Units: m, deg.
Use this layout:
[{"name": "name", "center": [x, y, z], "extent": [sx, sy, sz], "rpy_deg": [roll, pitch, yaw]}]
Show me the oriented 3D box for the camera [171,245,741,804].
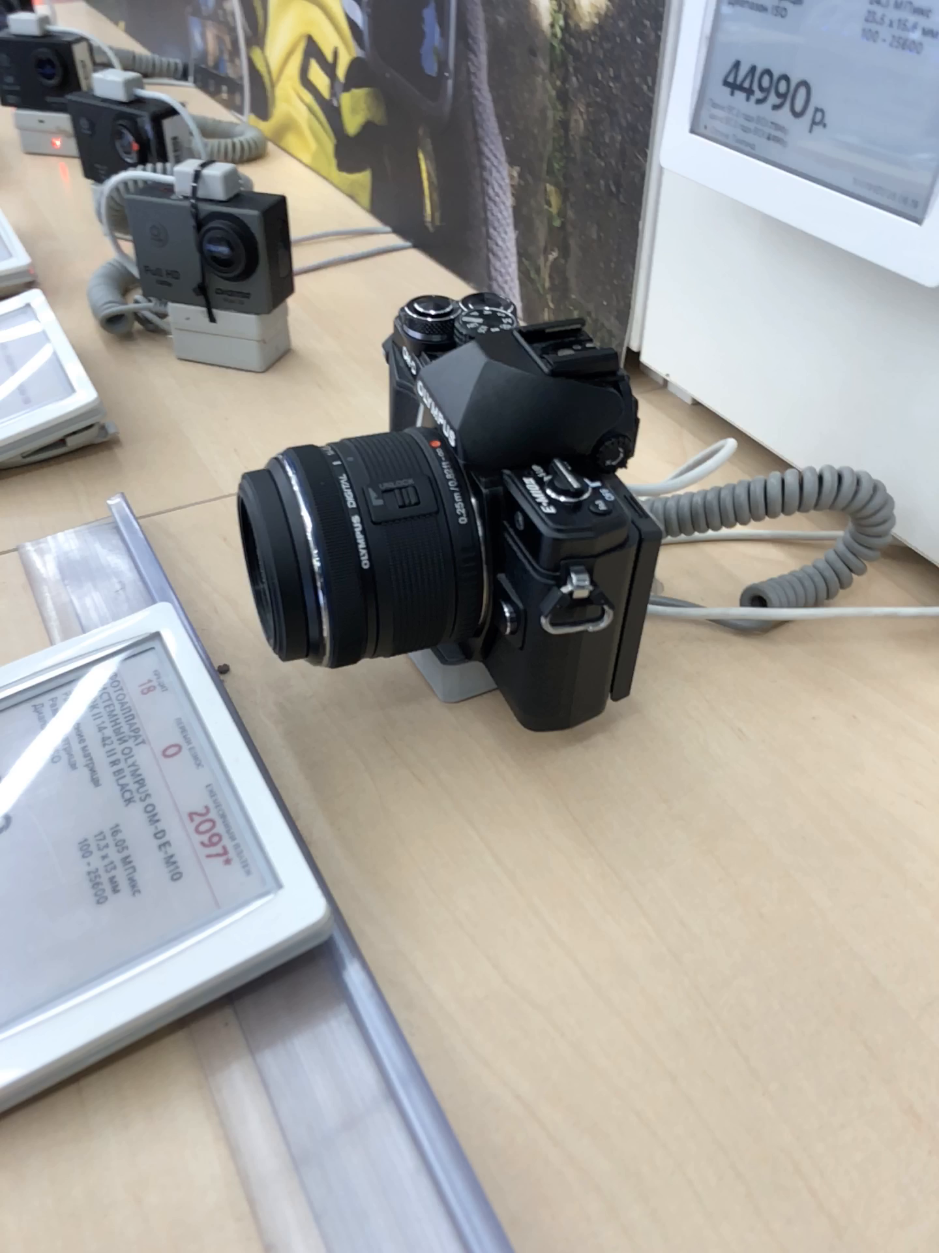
[{"name": "camera", "center": [-0.011, -0.035, 0.268], "extent": [0.100, 0.079, 0.112], "rpy_deg": [-14, 41, -17]}]
